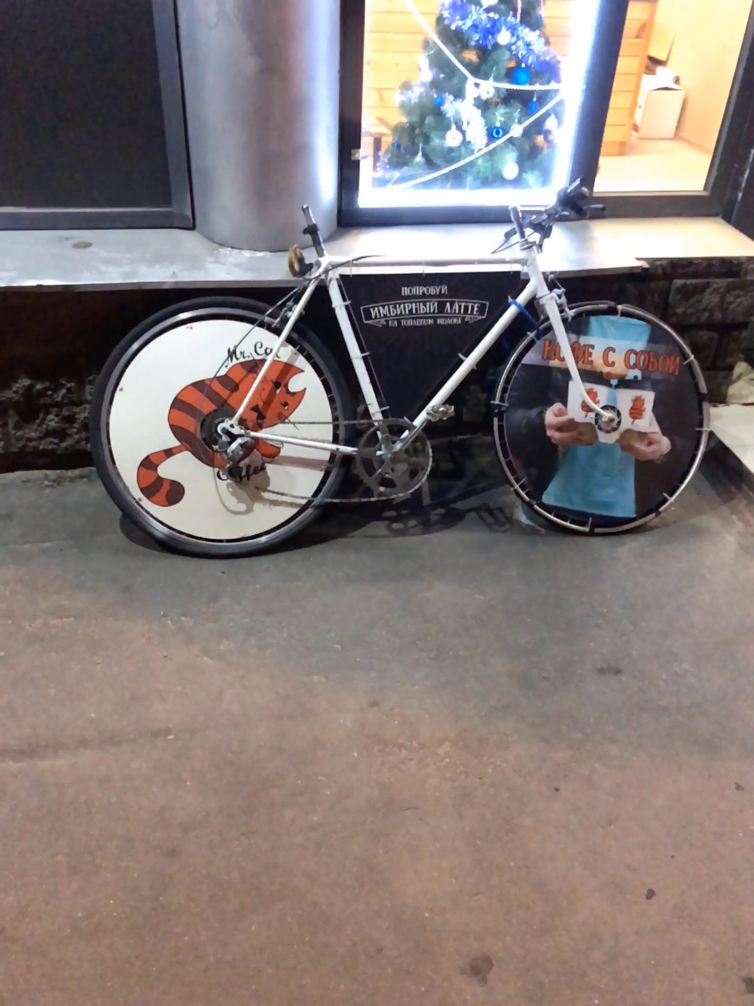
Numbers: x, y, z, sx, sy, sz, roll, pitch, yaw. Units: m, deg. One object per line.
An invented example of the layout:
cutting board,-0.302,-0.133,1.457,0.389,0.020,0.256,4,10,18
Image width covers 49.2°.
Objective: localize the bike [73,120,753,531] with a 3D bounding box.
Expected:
bike,0.098,-0.532,2.350,1.585,0.916,0.572,-4,35,-9
